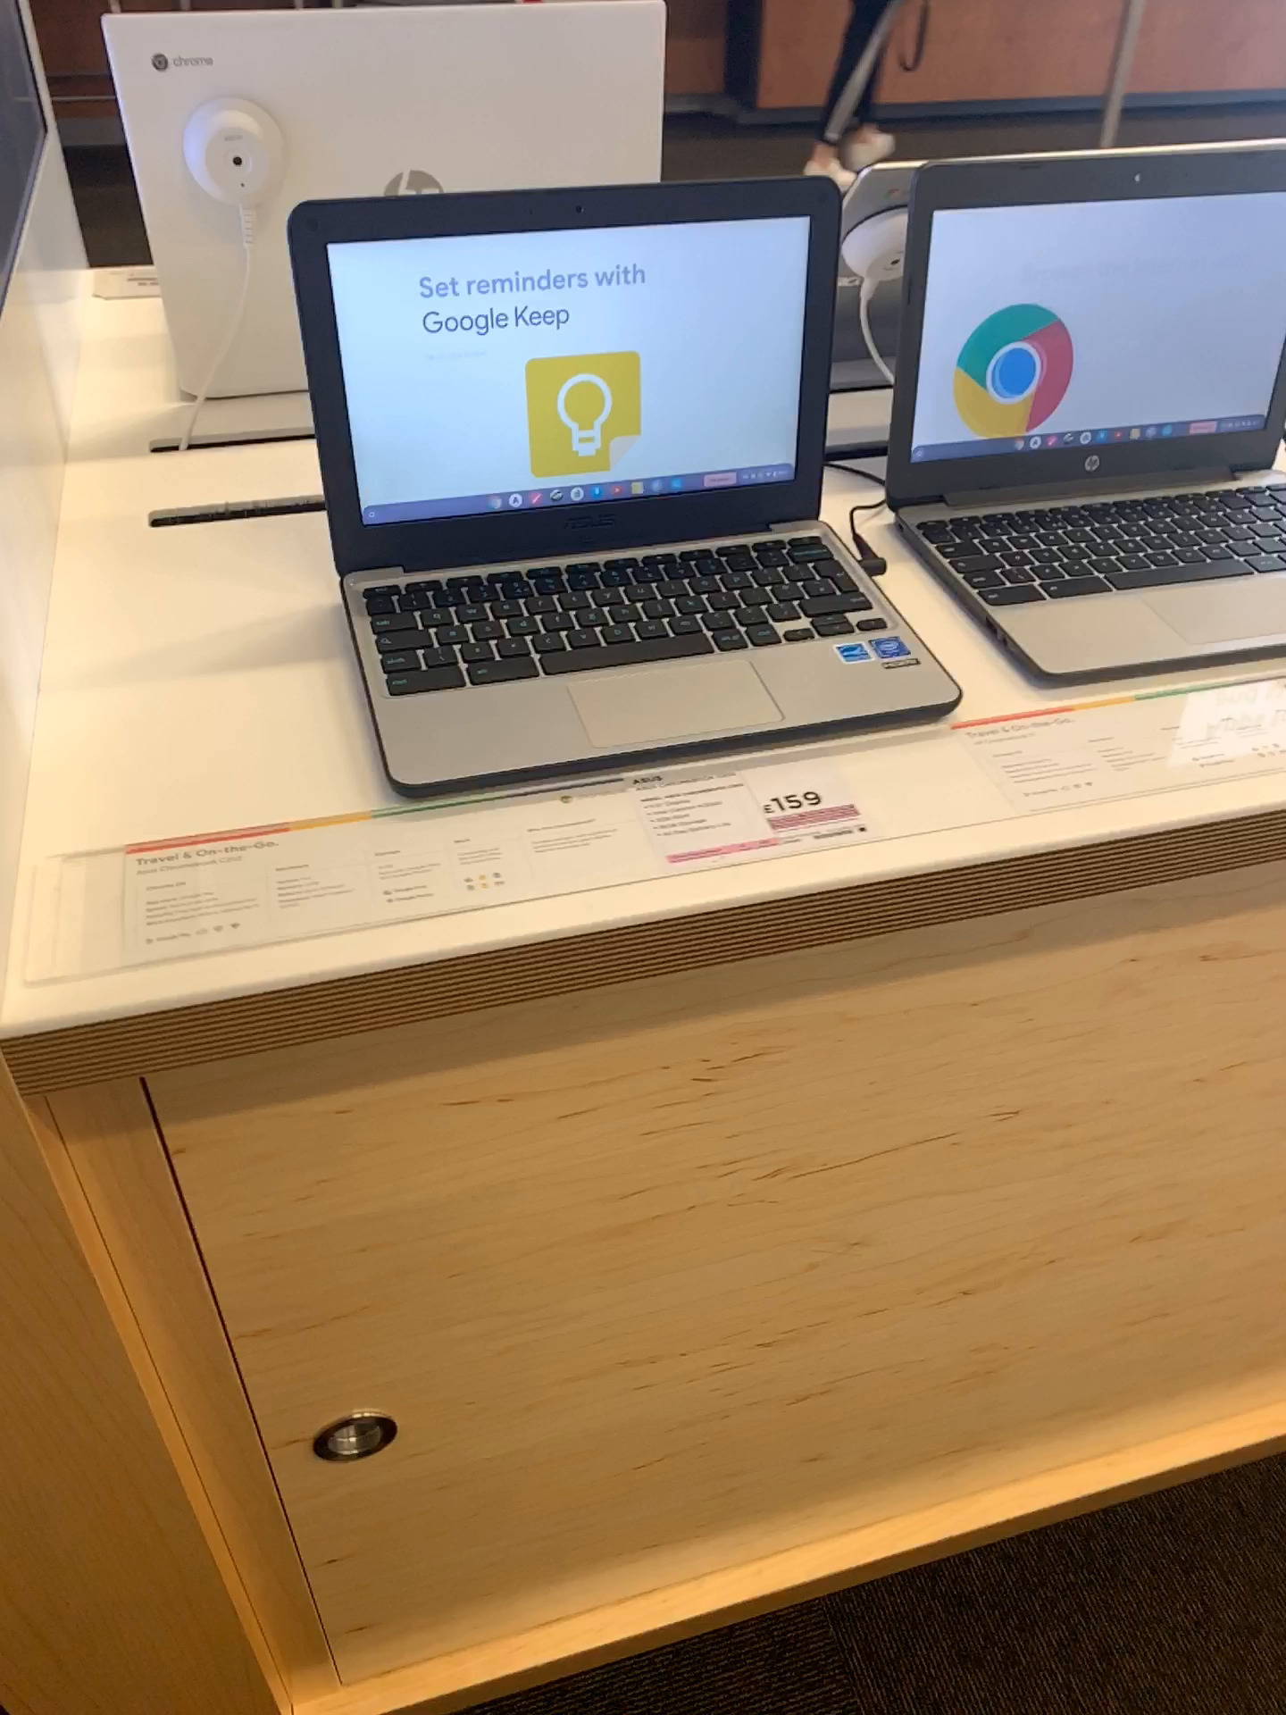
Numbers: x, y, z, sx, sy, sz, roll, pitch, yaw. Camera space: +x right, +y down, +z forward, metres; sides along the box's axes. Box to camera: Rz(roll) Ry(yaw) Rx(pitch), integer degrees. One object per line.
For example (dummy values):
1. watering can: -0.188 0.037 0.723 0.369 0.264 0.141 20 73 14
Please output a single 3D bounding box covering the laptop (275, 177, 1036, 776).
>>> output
1. laptop: -0.009 -0.196 0.639 0.280 0.183 0.217 -10 41 -13
